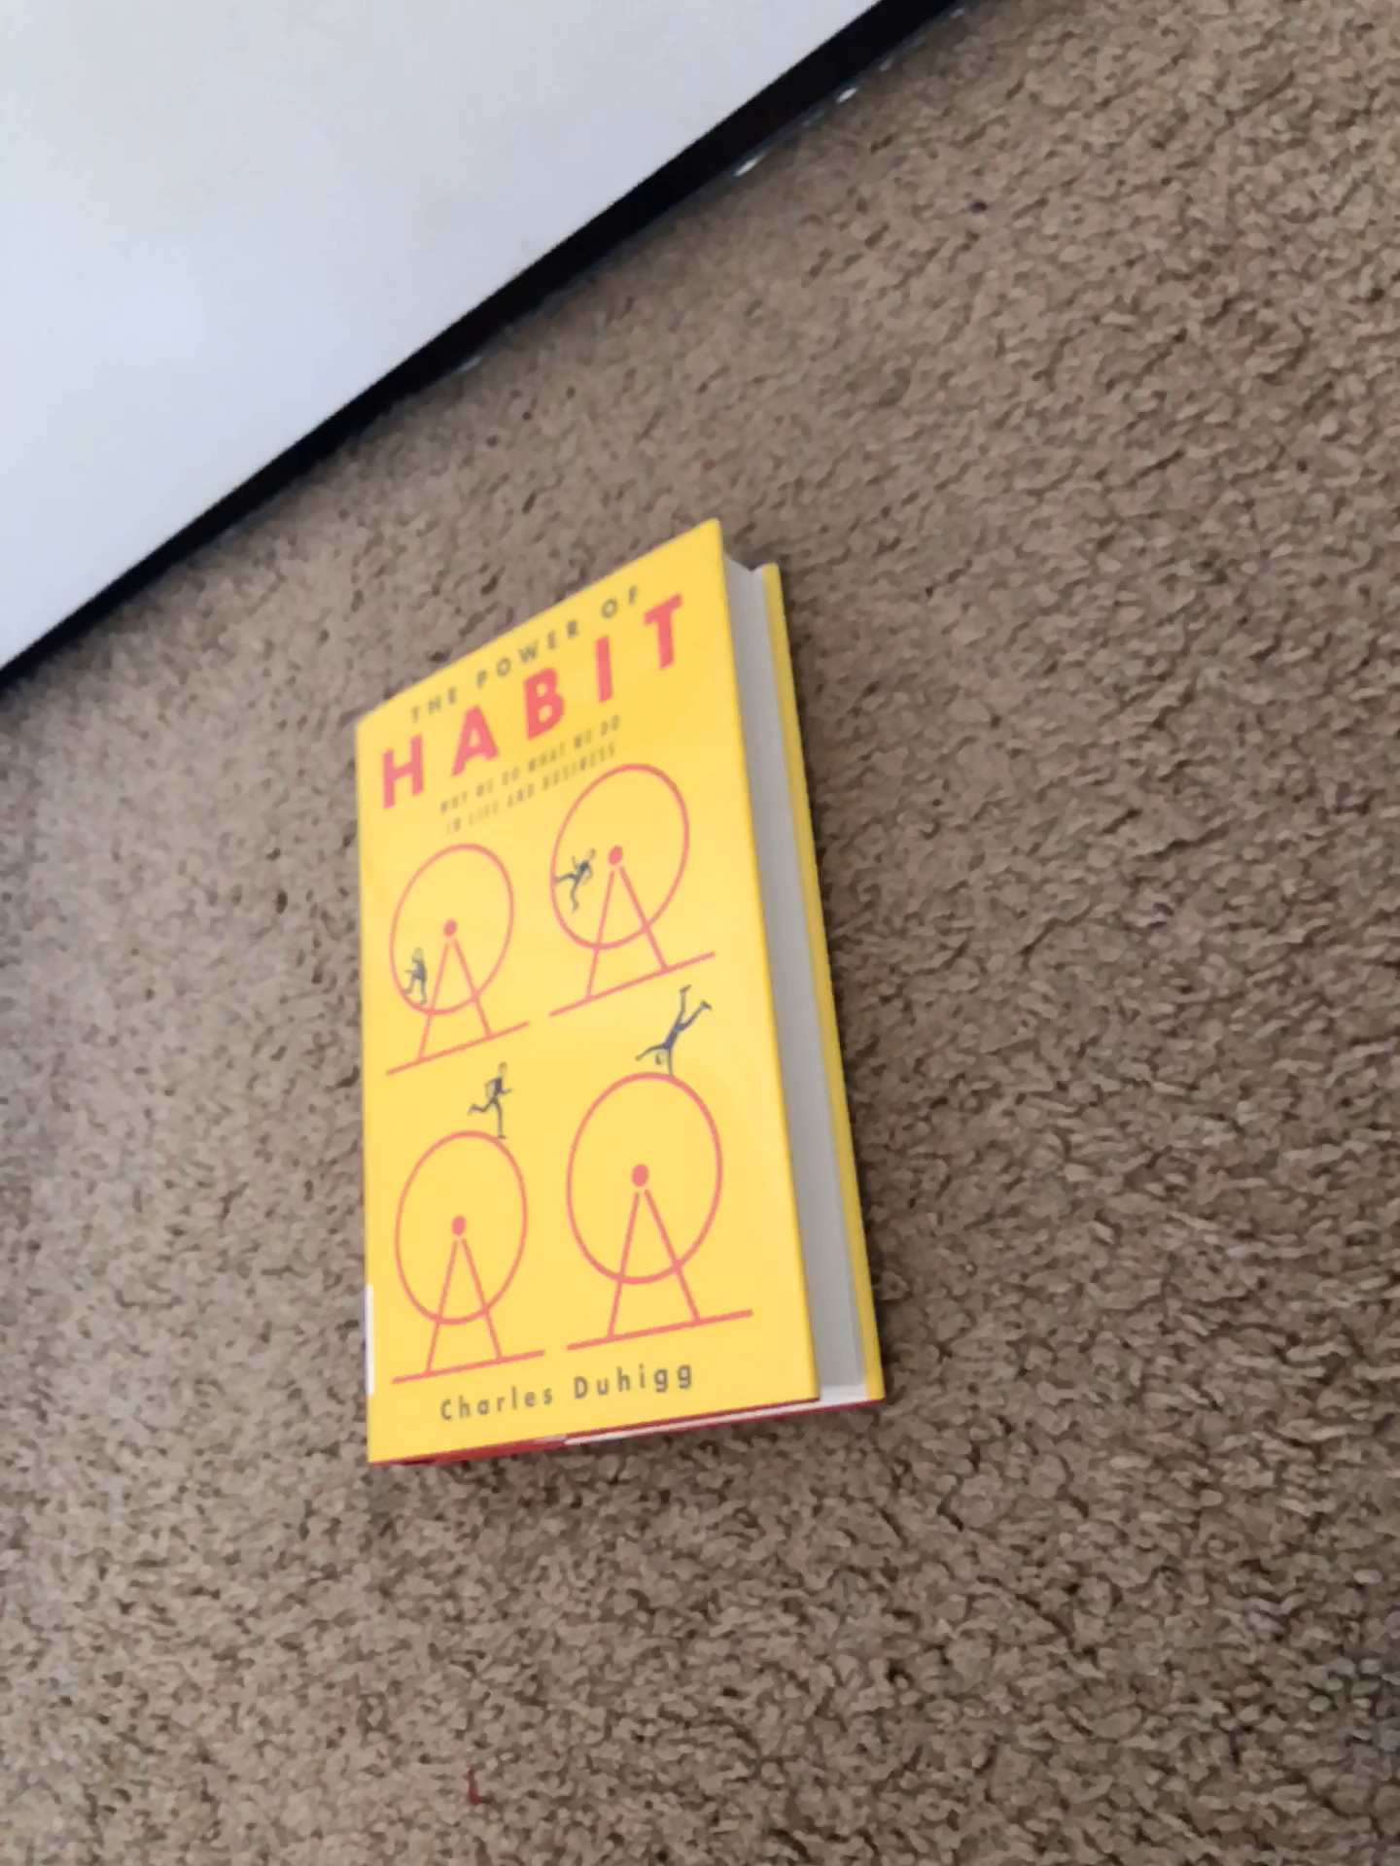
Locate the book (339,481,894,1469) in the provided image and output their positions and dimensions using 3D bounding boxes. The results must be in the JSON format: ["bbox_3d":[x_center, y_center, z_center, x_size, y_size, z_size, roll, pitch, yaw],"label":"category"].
[{"bbox_3d":[-0.038,0.018,0.458,0.165,0.040,0.251,-21,64,36],"label":"book"}]
